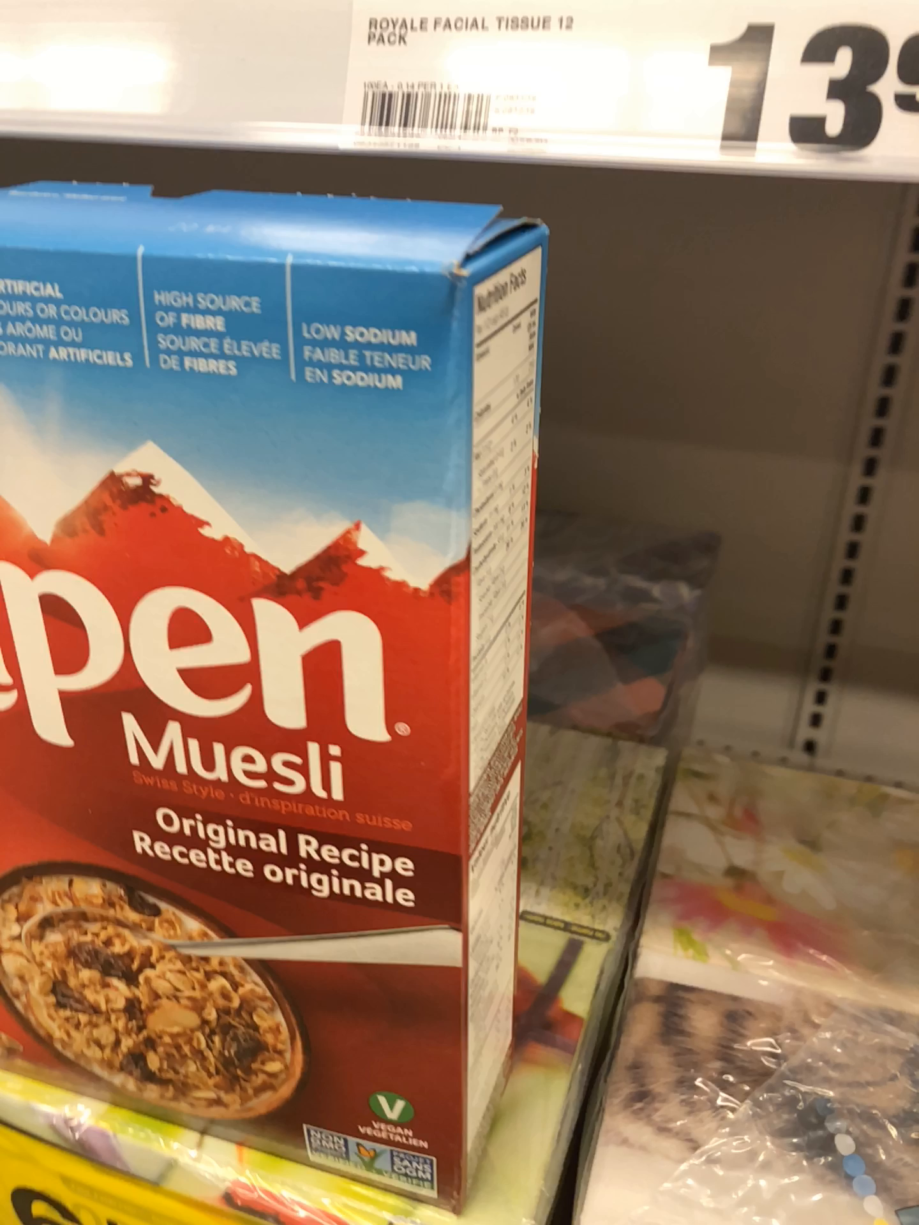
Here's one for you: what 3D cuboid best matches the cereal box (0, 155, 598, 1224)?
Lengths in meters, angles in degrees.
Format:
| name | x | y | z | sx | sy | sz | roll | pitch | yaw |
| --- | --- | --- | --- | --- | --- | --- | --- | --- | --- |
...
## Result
| name | x | y | z | sx | sy | sz | roll | pitch | yaw |
| --- | --- | --- | --- | --- | --- | --- | --- | --- | --- |
| cereal box | -0.070 | 0.026 | 0.237 | 0.180 | 0.229 | 0.050 | 9 | 31 | 15 |
